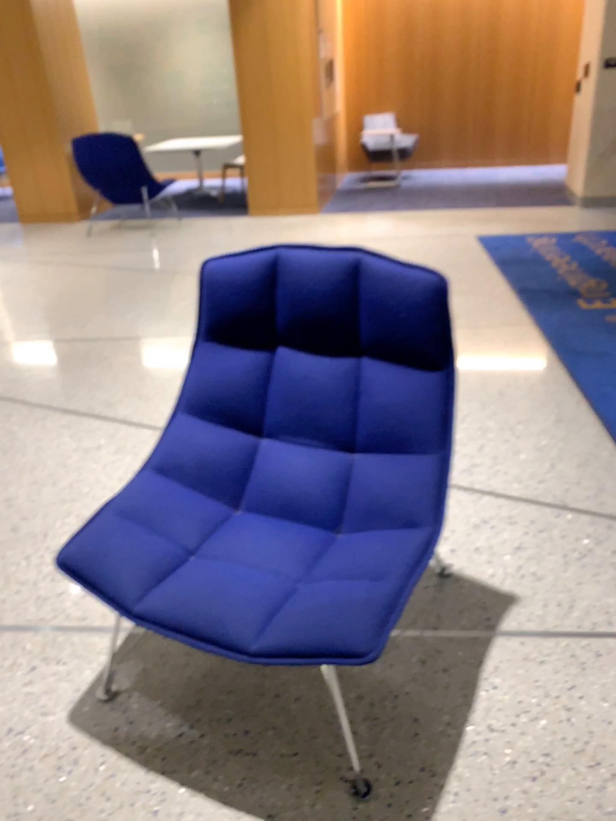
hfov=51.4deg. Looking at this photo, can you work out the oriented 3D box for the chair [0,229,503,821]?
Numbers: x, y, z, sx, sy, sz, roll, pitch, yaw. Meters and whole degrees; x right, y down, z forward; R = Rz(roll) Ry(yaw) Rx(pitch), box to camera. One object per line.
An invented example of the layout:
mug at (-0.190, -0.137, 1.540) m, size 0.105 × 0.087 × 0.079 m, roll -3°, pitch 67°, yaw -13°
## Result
chair at (-0.094, 0.140, 1.464) m, size 0.855 × 0.894 × 0.799 m, roll 9°, pitch 30°, yaw 23°
